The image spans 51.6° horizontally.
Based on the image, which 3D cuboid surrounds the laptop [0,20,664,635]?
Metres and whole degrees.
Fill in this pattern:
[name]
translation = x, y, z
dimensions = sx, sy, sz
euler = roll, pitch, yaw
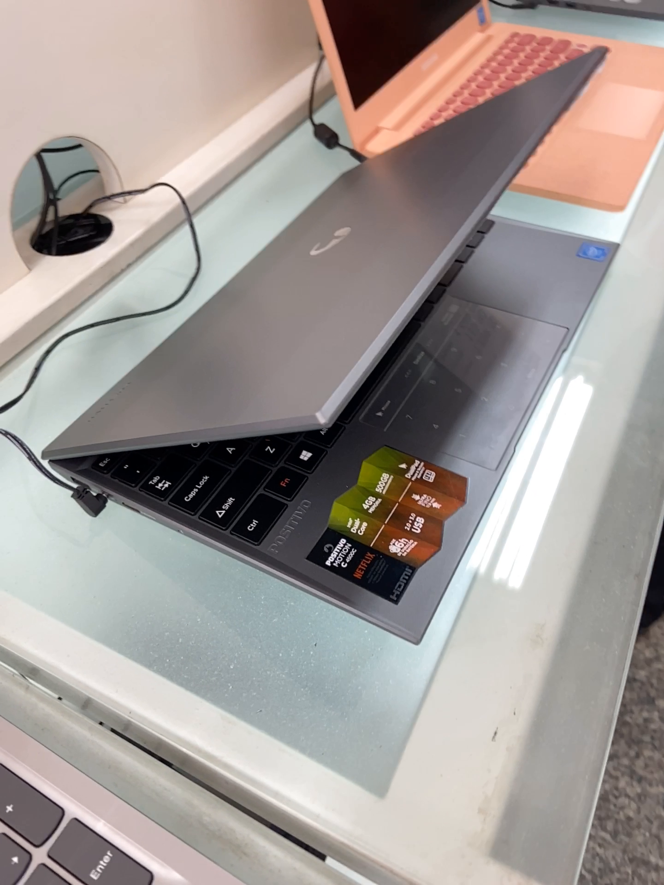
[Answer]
[laptop]
translation = 0.020, -0.104, 0.379
dimensions = 0.210, 0.113, 0.335
euler = 22, 53, 21
